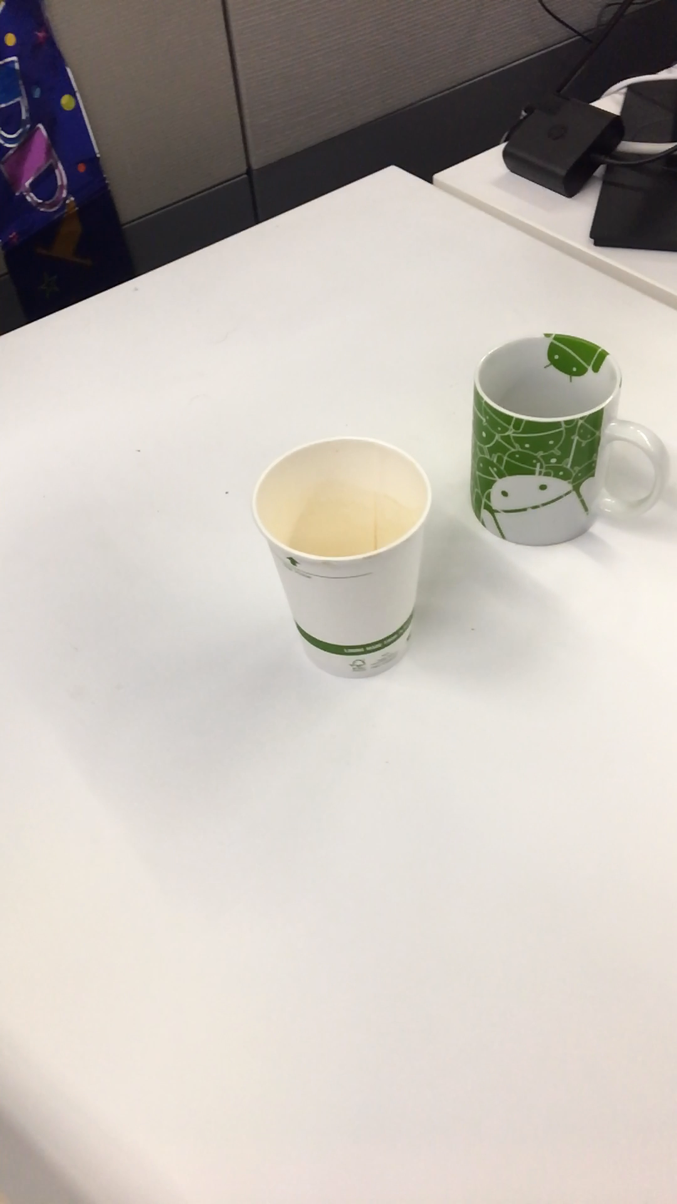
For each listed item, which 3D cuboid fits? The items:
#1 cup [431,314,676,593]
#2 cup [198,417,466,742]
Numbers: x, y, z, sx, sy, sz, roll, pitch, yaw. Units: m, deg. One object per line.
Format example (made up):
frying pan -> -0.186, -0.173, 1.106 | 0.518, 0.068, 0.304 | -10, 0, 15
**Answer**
cup -> 0.128, -0.087, 0.572 | 0.120, 0.090, 0.090 | 25, 55, 25
cup -> 0.002, -0.012, 0.509 | 0.090, 0.110, 0.090 | -3, 48, 3
